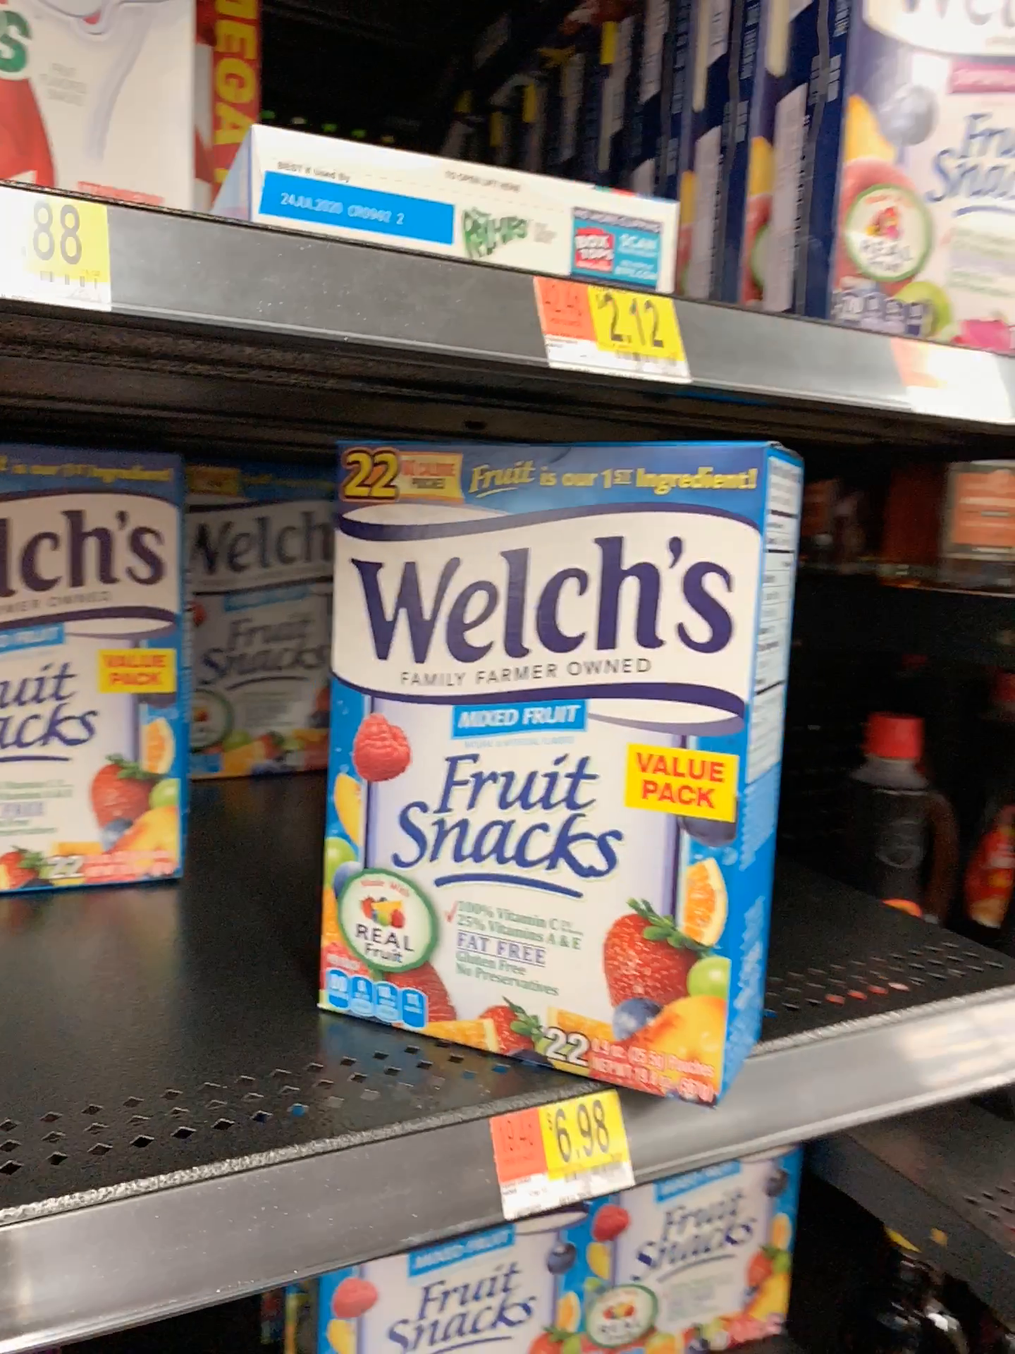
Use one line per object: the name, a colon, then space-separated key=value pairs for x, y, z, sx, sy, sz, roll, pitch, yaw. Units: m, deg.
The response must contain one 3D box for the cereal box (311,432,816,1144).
cereal box: x=0.016 y=0.030 z=0.394 sx=0.170 sy=0.230 sz=0.060 roll=5 pitch=7 yaw=23
